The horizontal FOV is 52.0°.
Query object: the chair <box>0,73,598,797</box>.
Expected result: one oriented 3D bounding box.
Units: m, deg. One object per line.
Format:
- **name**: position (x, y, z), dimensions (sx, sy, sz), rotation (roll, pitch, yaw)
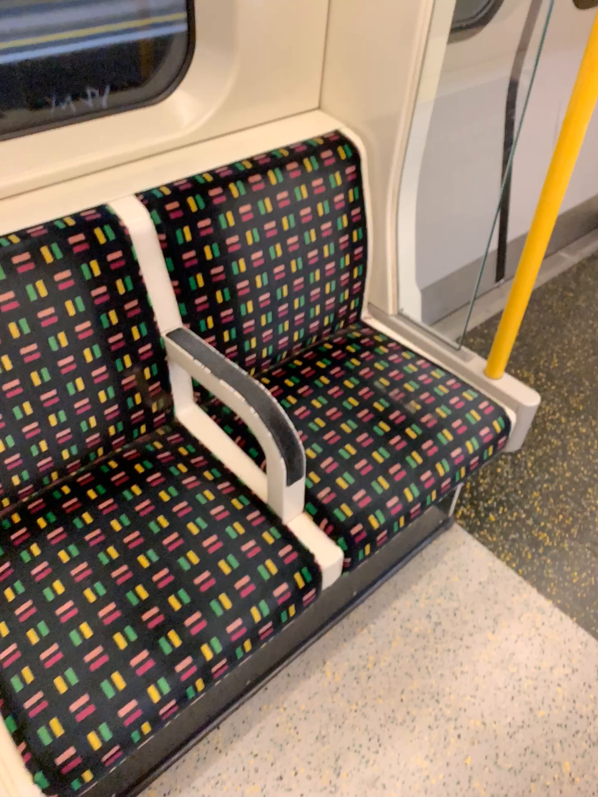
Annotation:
- **chair**: position (-0.213, 0.073, 1.052), dimensions (1.064, 0.763, 0.915), rotation (-31, 53, -30)
